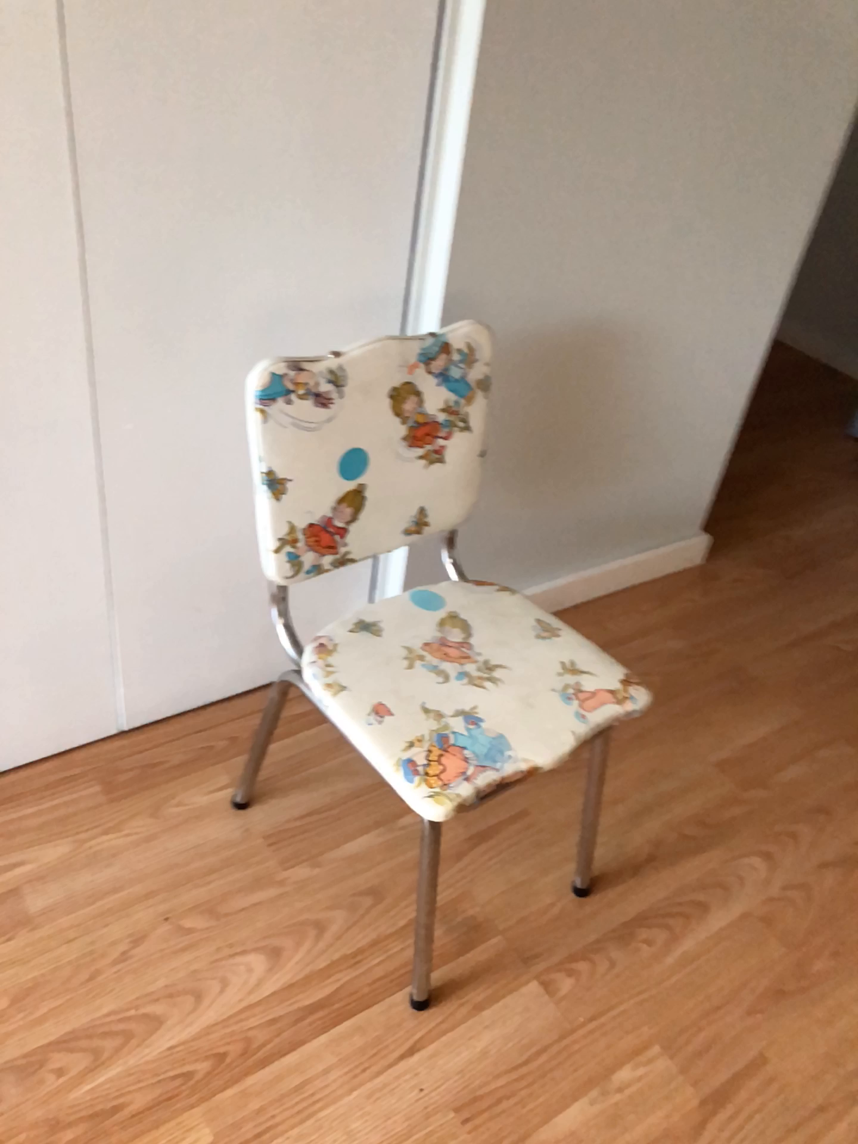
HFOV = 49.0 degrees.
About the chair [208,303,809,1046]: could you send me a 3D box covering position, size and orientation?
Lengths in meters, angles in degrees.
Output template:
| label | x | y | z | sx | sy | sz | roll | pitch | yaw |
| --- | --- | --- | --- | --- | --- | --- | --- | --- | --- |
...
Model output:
| label | x | y | z | sx | sy | sz | roll | pitch | yaw |
| --- | --- | --- | --- | --- | --- | --- | --- | --- | --- |
| chair | 0.025 | 0.085 | 0.968 | 0.351 | 0.558 | 0.391 | -19 | 45 | -33 |
